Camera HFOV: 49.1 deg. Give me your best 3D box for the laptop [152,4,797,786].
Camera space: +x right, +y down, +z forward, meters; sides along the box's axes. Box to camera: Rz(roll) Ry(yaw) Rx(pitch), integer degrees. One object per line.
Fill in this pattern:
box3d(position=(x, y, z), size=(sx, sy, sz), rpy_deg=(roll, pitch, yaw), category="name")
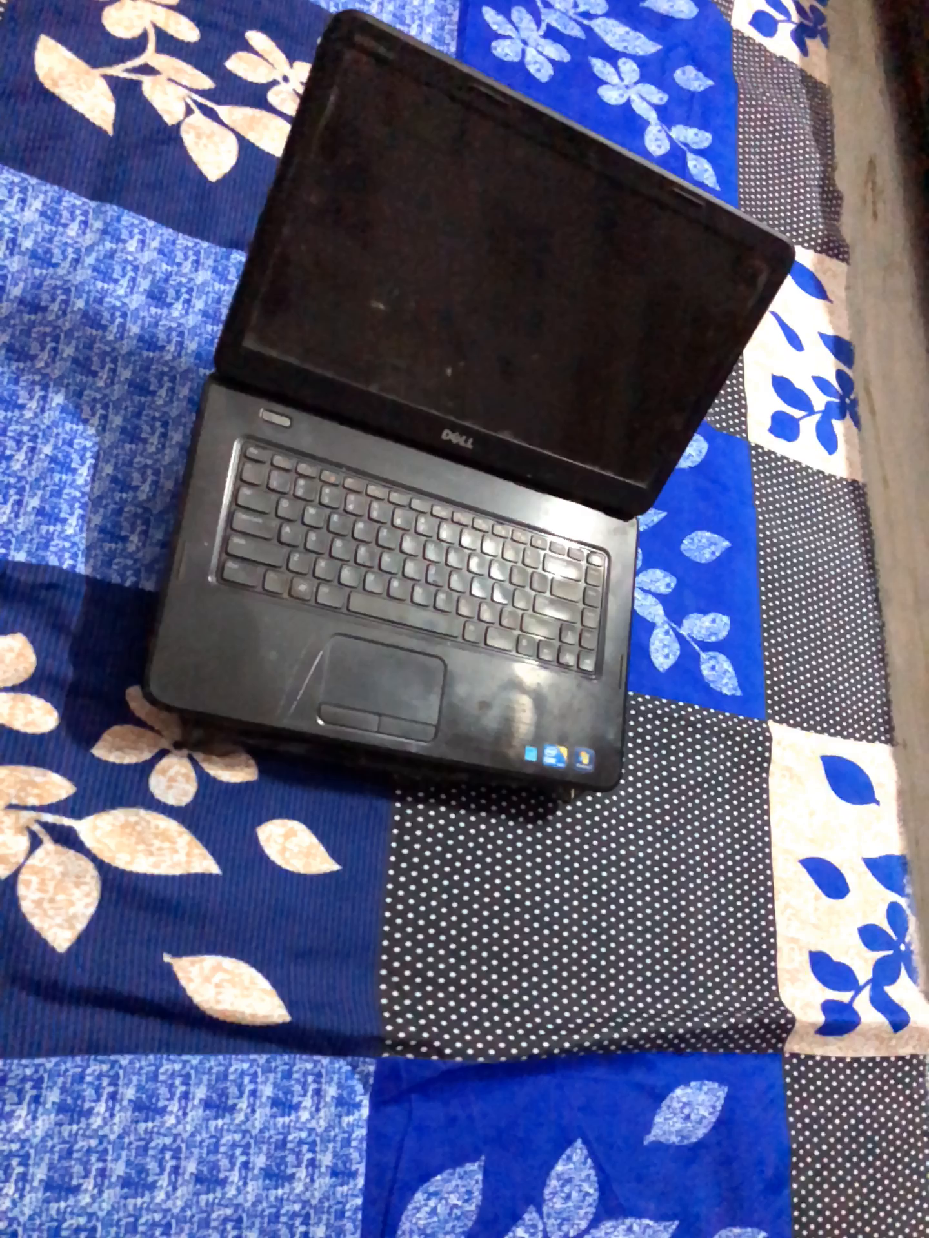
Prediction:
box3d(position=(0.027, -0.117, 0.703), size=(0.364, 0.186, 0.389), rpy_deg=(14, 69, -27), category="laptop")
